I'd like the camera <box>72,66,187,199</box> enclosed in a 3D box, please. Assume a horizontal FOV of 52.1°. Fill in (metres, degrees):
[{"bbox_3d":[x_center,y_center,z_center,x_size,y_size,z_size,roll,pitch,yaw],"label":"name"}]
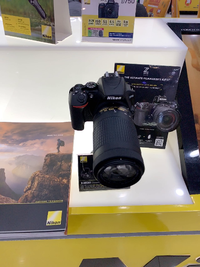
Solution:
[{"bbox_3d":[0.022,-0.013,0.312,0.120,0.100,0.181,-4,43,-5],"label":"camera"}]
